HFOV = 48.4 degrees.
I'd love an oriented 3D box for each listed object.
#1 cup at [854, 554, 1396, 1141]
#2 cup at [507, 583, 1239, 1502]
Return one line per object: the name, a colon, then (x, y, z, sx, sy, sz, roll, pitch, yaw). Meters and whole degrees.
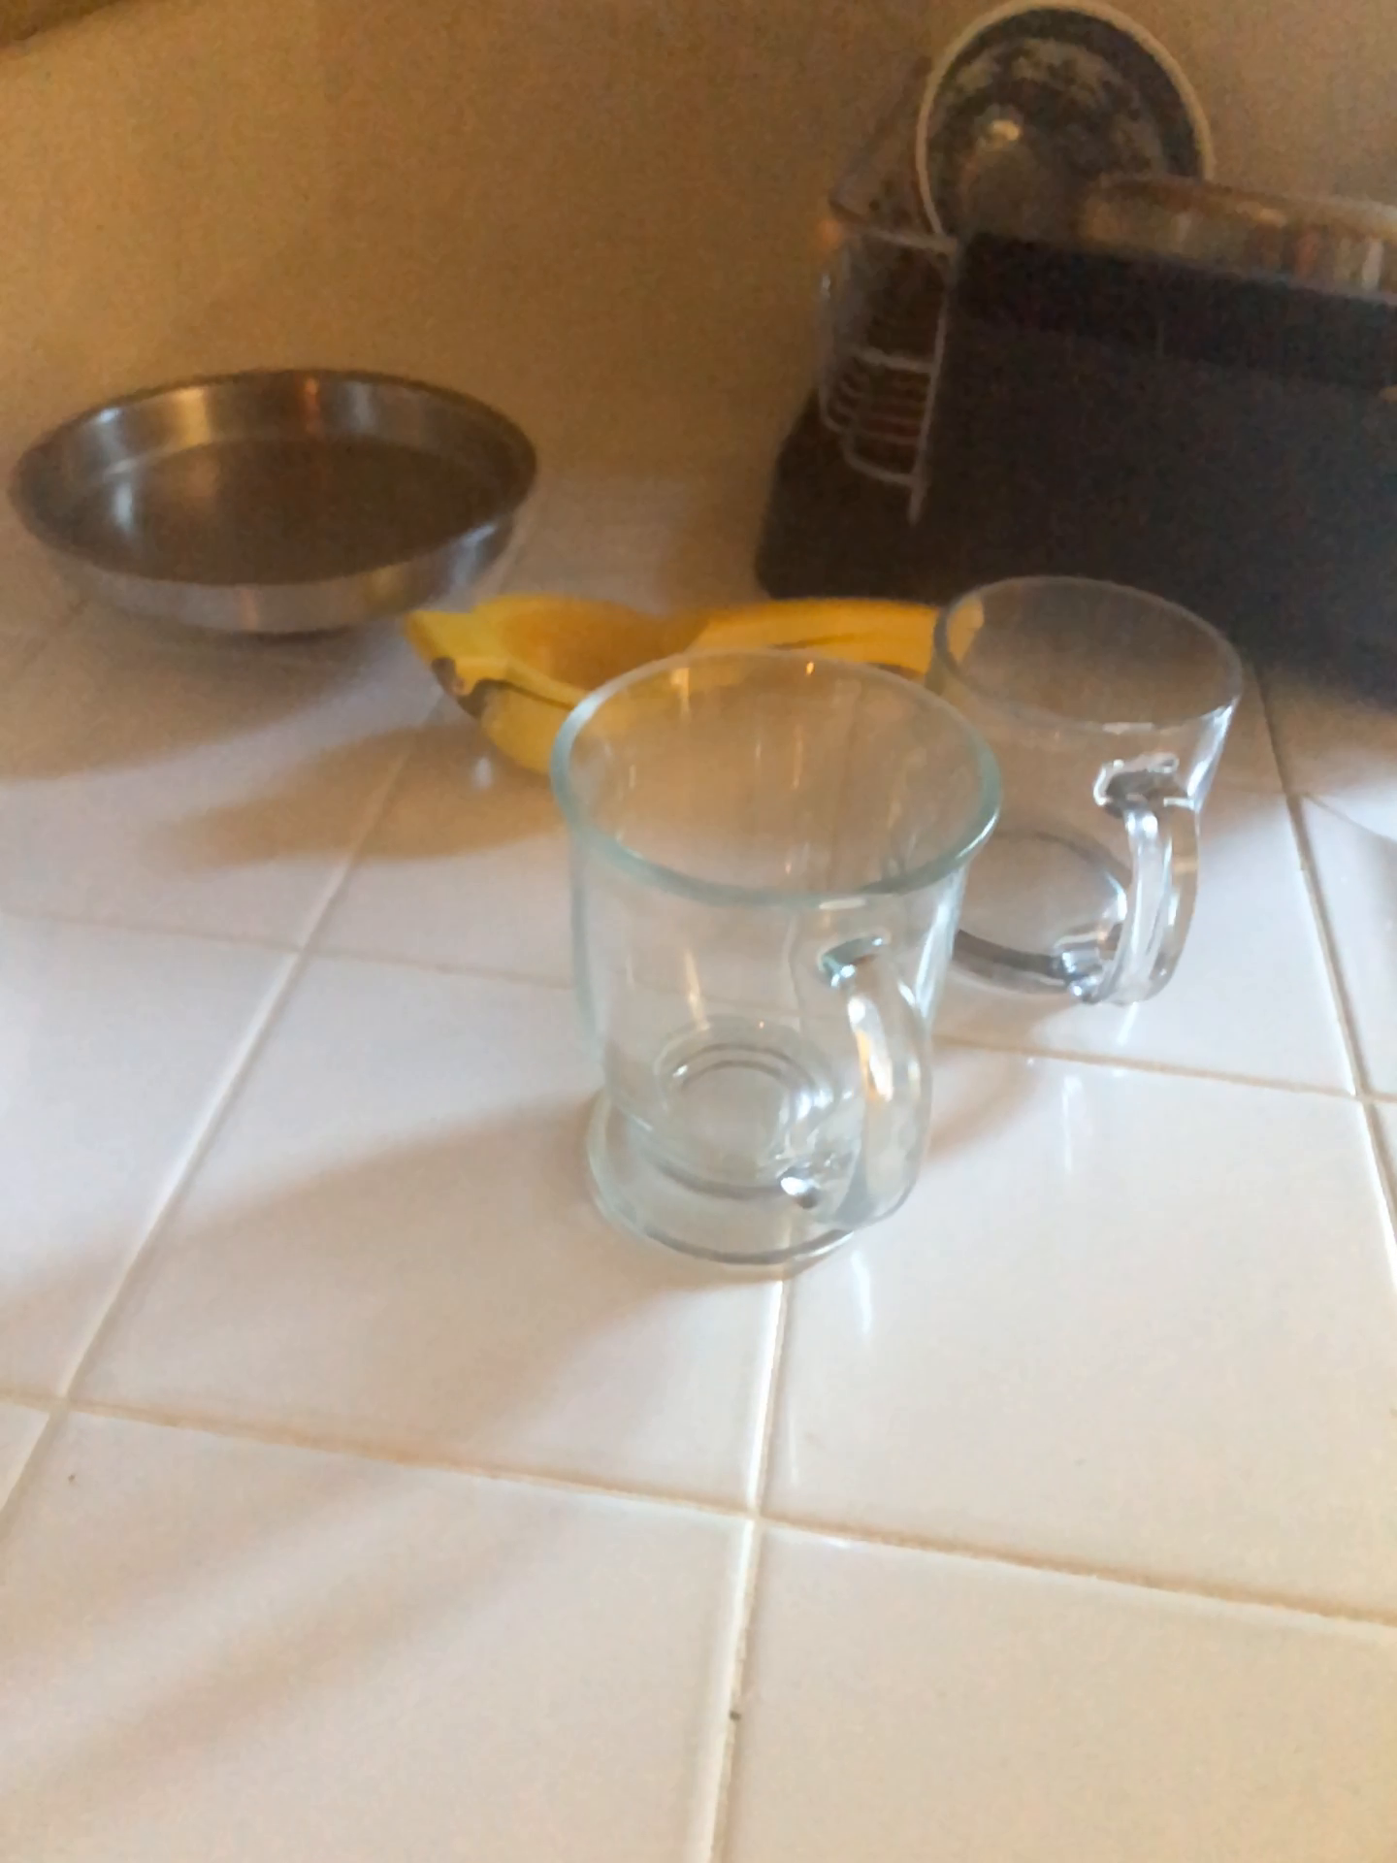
cup: (0.112, -0.028, 0.446, 0.090, 0.109, 0.121, -6, 41, -12)
cup: (0.025, 0.020, 0.355, 0.090, 0.139, 0.131, -17, 44, -23)
